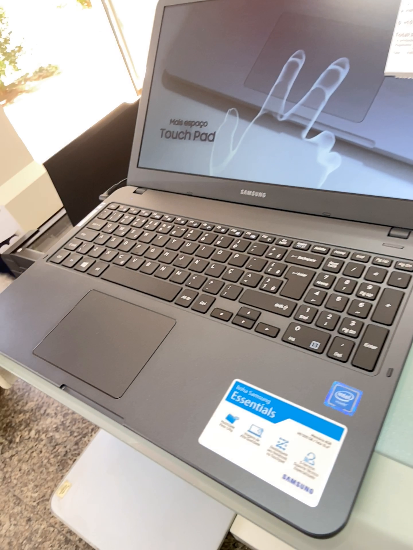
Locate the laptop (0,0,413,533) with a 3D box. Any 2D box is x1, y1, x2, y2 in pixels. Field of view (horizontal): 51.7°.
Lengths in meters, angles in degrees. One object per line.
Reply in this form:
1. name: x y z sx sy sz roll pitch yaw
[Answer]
1. laptop: 0.004 -0.104 0.369 0.368 0.157 0.412 15 53 33
